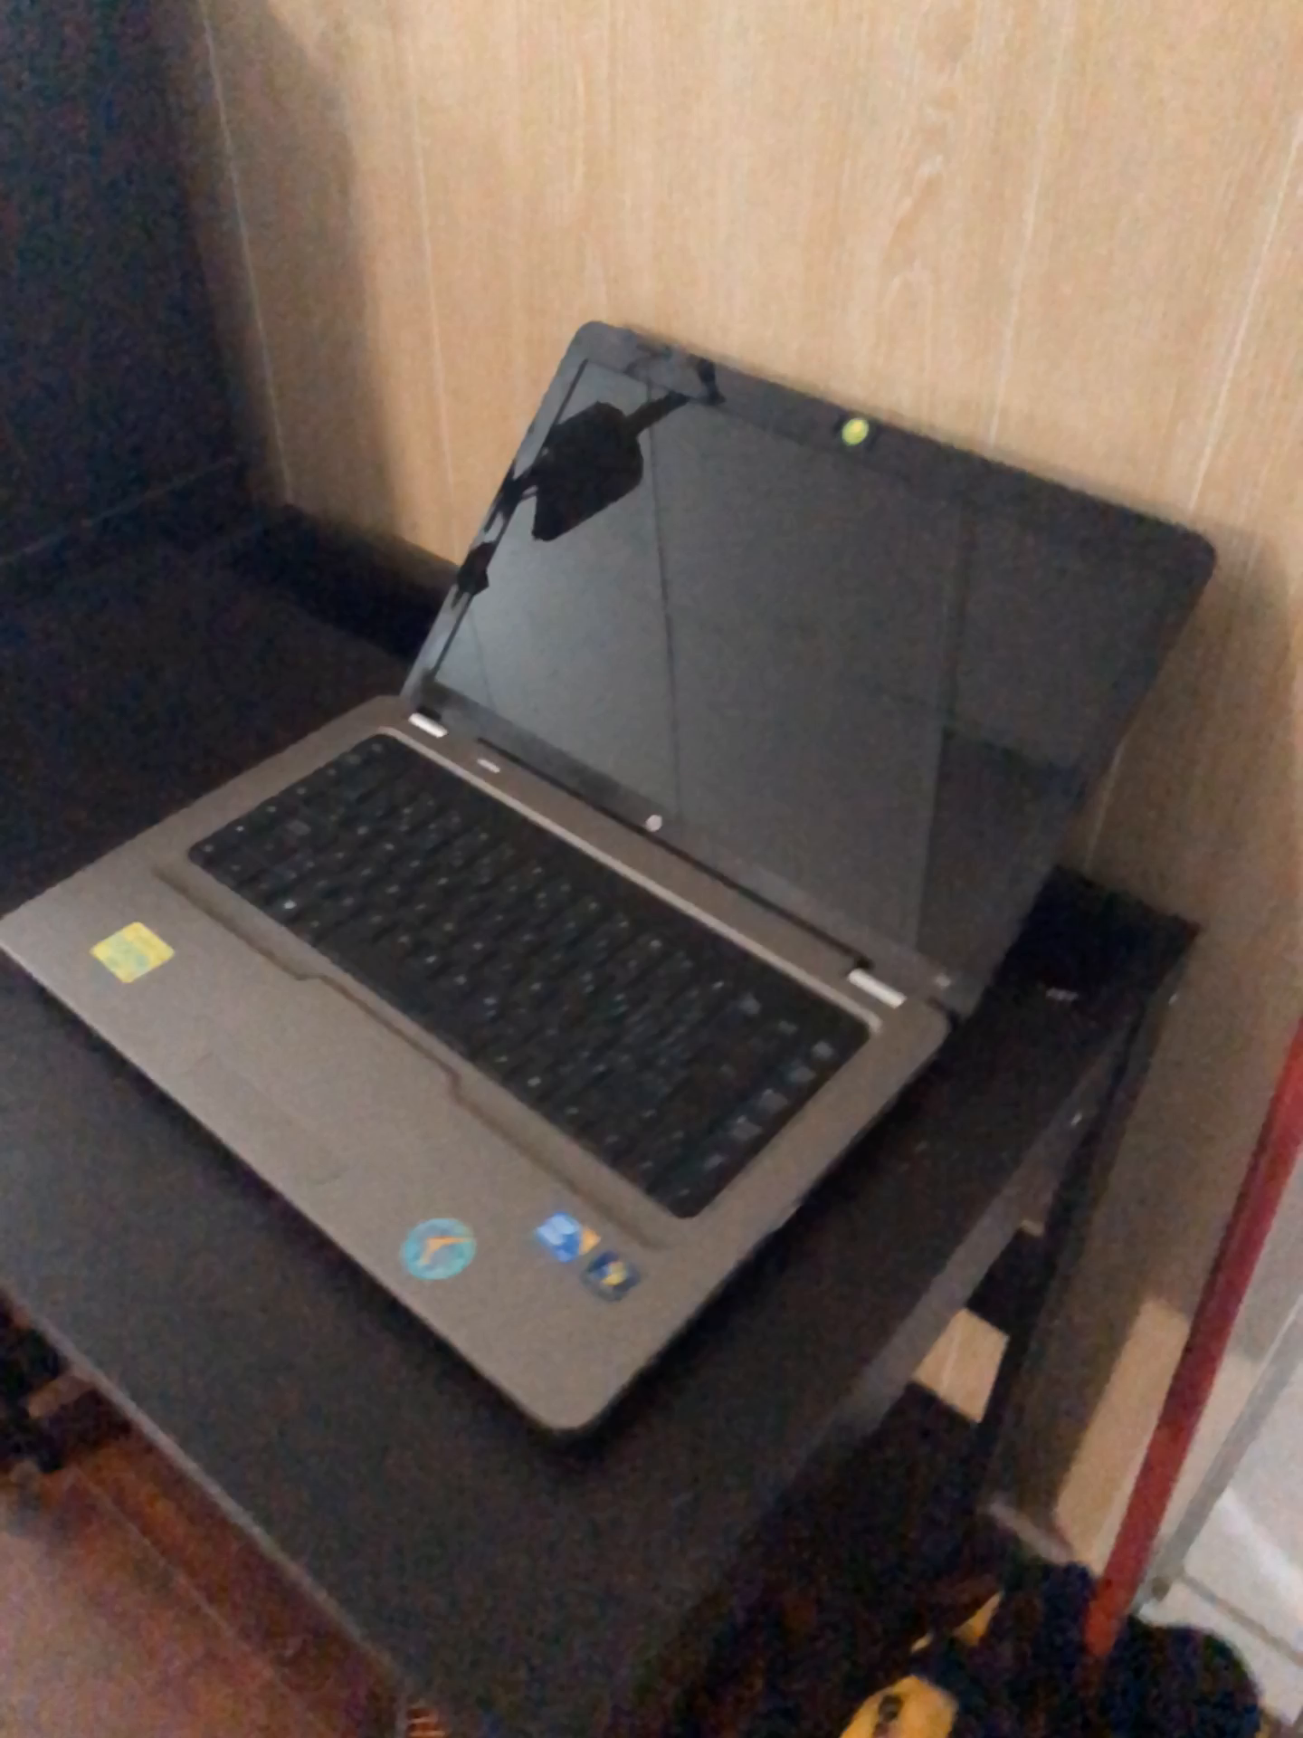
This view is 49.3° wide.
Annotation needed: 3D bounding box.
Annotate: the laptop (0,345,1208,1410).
[{"bbox_3d":[-0.030,-0.052,0.635,0.357,0.166,0.403,29,49,30],"label":"laptop"}]
